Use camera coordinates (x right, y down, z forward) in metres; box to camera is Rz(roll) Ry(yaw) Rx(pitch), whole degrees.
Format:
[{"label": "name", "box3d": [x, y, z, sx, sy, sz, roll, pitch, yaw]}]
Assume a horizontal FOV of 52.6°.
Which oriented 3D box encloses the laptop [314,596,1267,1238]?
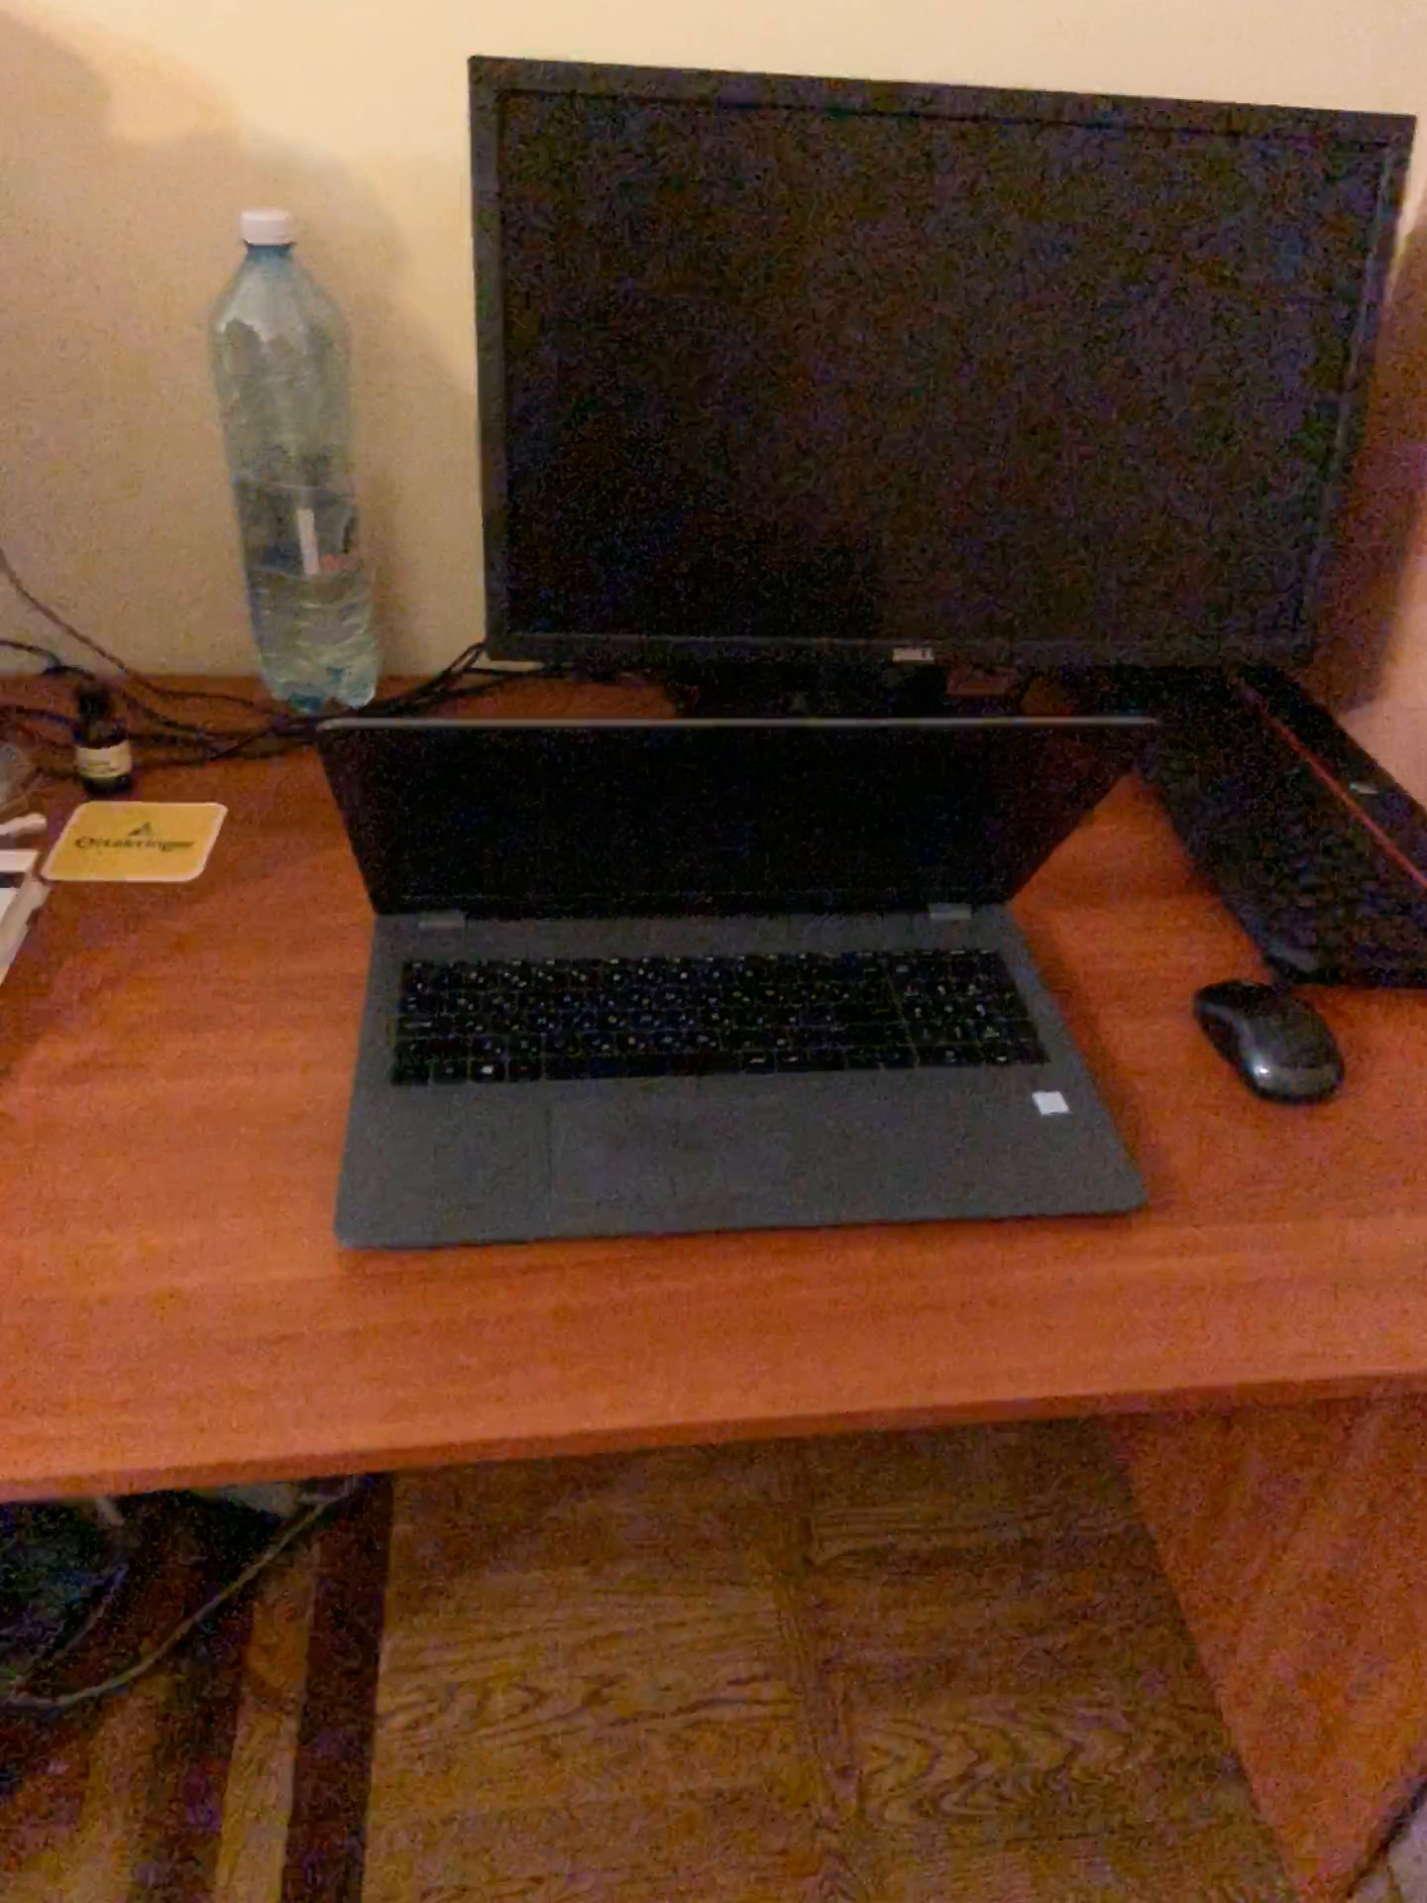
[{"label": "laptop", "box3d": [0.014, -0.029, 0.683, 0.359, 0.191, 0.233, -2, 36, -7]}]
